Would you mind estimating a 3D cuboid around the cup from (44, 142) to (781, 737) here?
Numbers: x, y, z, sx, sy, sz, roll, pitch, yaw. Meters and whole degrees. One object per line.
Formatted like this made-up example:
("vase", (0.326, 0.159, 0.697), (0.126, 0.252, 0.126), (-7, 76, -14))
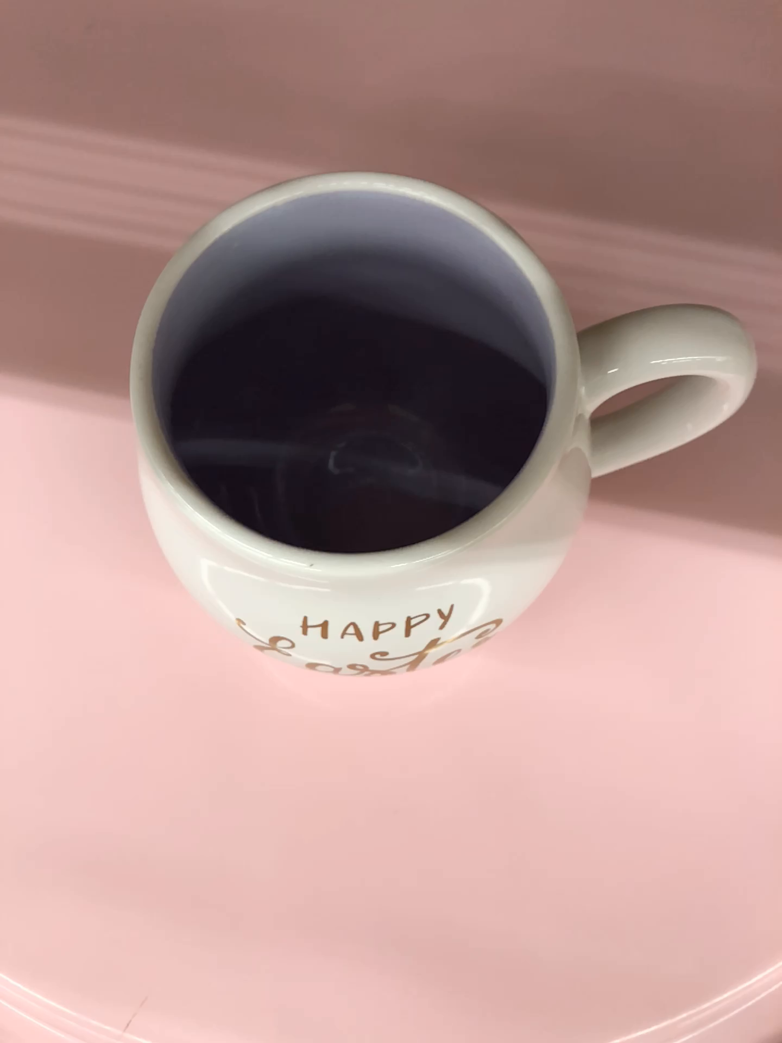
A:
("cup", (0.005, -0.010, 0.195), (0.130, 0.080, 0.090), (-8, 72, -1))
